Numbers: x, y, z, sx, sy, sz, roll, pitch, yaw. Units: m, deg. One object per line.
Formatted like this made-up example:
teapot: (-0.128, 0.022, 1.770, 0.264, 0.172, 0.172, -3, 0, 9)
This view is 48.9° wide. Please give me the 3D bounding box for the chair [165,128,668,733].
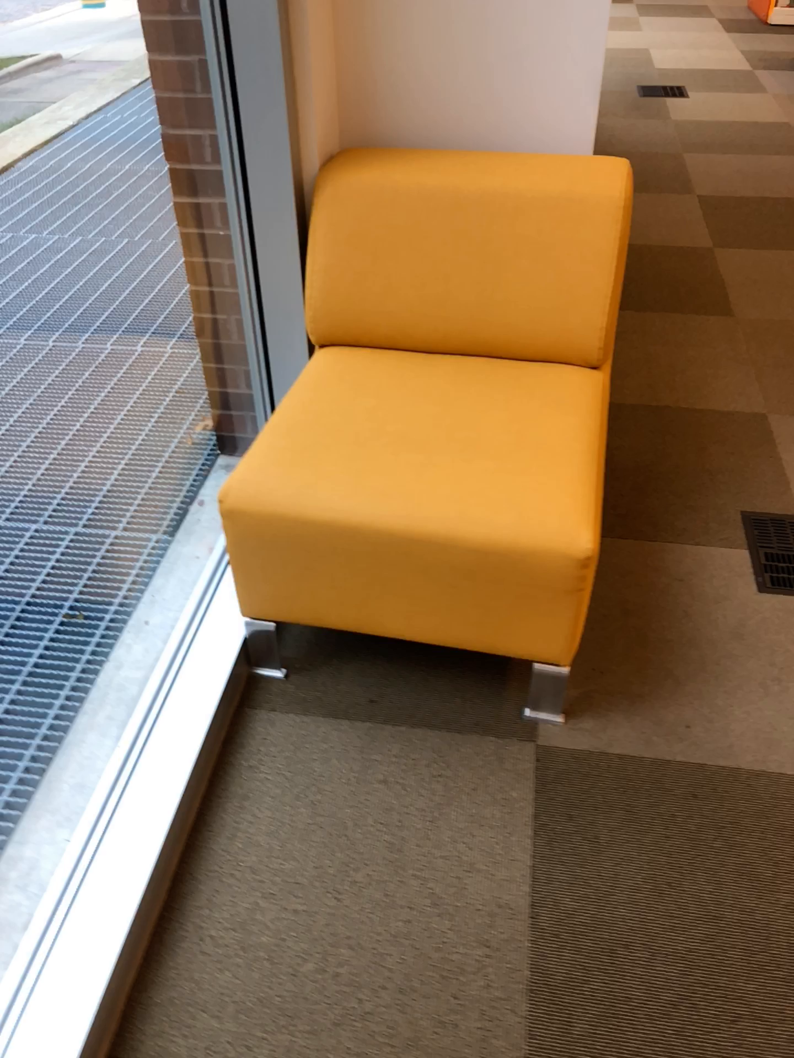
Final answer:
chair: (0.105, -0.243, 1.697, 0.662, 0.759, 0.874, 7, 40, 10)
